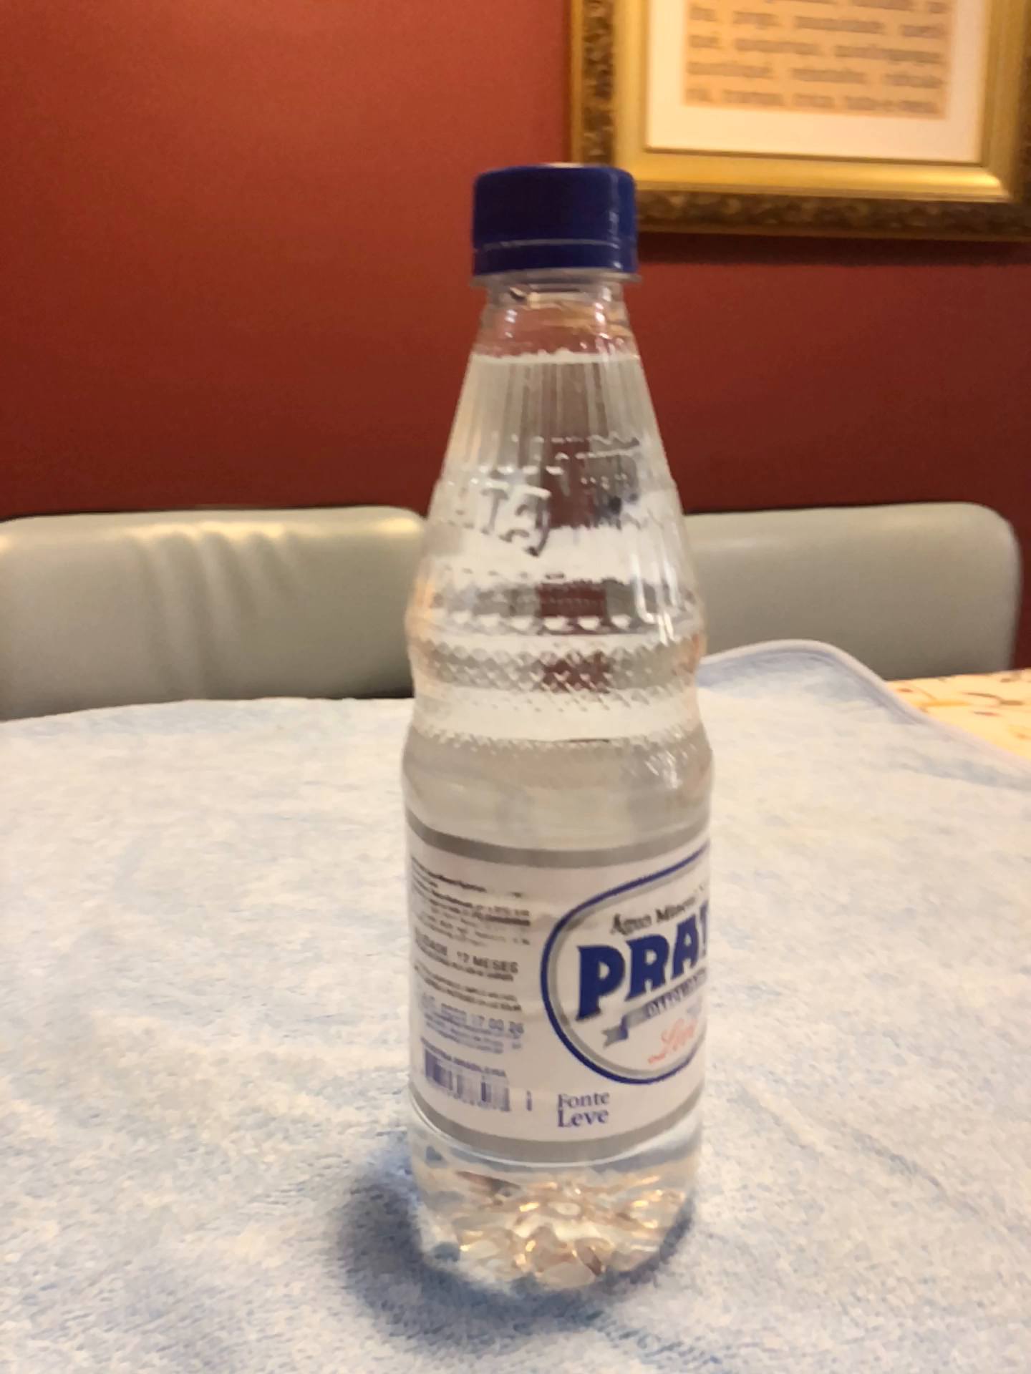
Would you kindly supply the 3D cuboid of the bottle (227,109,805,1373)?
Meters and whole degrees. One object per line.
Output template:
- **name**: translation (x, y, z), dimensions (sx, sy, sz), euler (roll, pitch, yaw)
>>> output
- **bottle**: translation (0.003, 0.013, 0.236), dimensions (0.070, 0.219, 0.080), euler (12, 19, 39)
